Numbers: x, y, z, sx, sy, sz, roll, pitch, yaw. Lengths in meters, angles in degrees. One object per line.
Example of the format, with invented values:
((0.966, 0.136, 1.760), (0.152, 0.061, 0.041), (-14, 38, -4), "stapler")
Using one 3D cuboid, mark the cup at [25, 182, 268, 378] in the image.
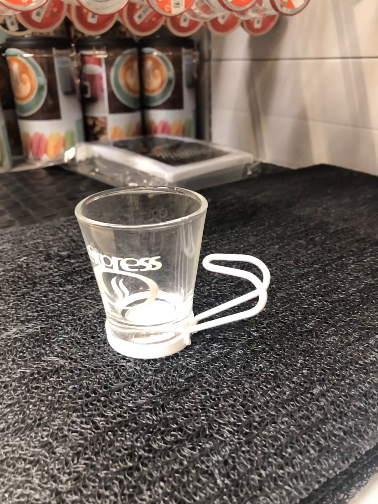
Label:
((-0.012, 0.008, 0.199), (0.092, 0.063, 0.060), (4, 29, 13), "cup")
